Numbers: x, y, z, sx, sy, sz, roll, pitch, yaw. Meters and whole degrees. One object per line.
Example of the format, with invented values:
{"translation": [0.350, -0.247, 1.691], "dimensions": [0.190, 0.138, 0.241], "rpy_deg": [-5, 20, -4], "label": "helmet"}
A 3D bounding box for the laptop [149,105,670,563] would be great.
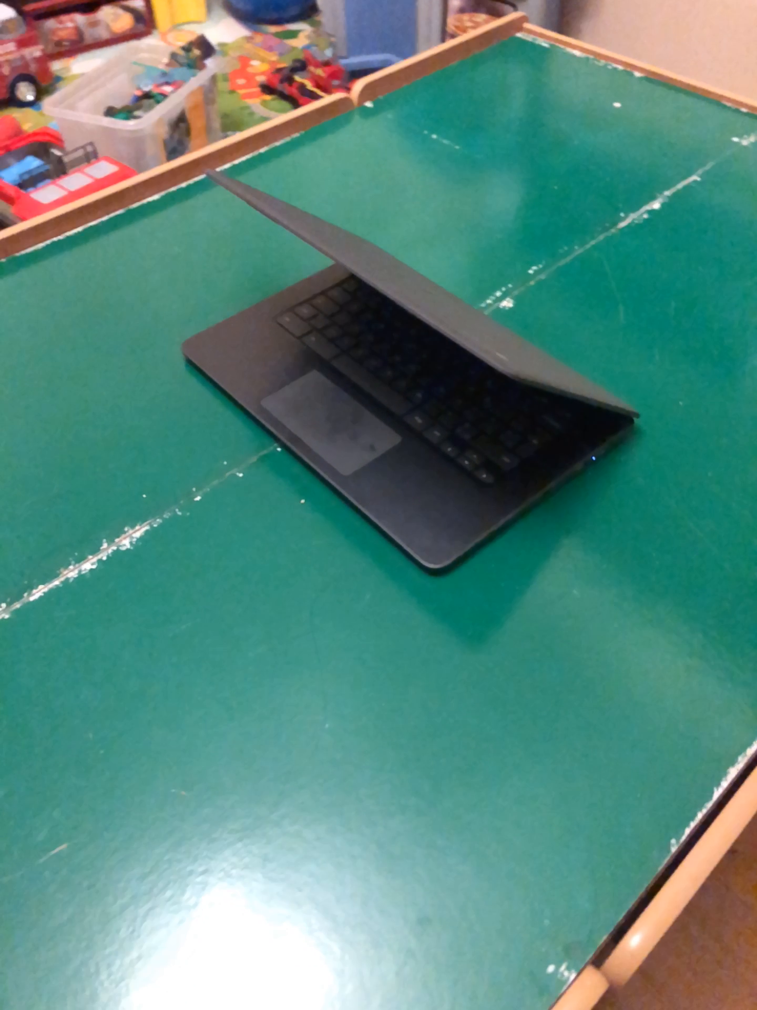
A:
{"translation": [0.012, -0.150, 0.638], "dimensions": [0.208, 0.144, 0.317], "rpy_deg": [-34, 57, -24], "label": "laptop"}
